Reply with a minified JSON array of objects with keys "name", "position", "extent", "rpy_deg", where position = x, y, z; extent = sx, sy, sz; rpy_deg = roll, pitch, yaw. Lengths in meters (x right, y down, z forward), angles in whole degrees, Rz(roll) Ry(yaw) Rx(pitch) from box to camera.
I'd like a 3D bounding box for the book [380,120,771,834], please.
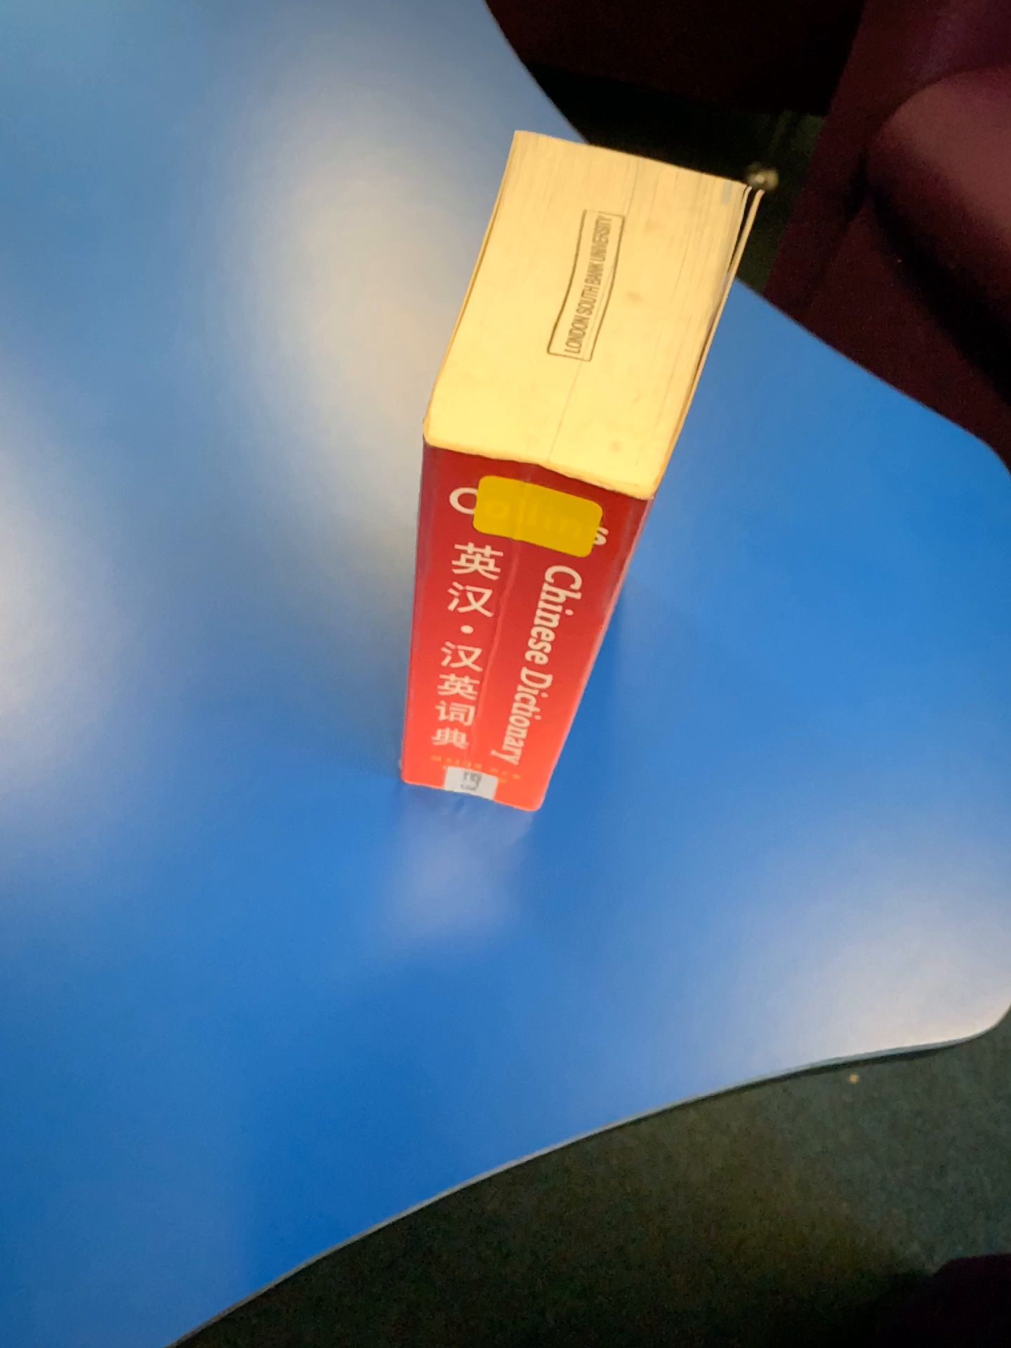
[{"name":"book","position":[0.016,-0.053,0.371],"extent":[0.080,0.199,0.141],"rpy_deg":[13,59,-2]}]
